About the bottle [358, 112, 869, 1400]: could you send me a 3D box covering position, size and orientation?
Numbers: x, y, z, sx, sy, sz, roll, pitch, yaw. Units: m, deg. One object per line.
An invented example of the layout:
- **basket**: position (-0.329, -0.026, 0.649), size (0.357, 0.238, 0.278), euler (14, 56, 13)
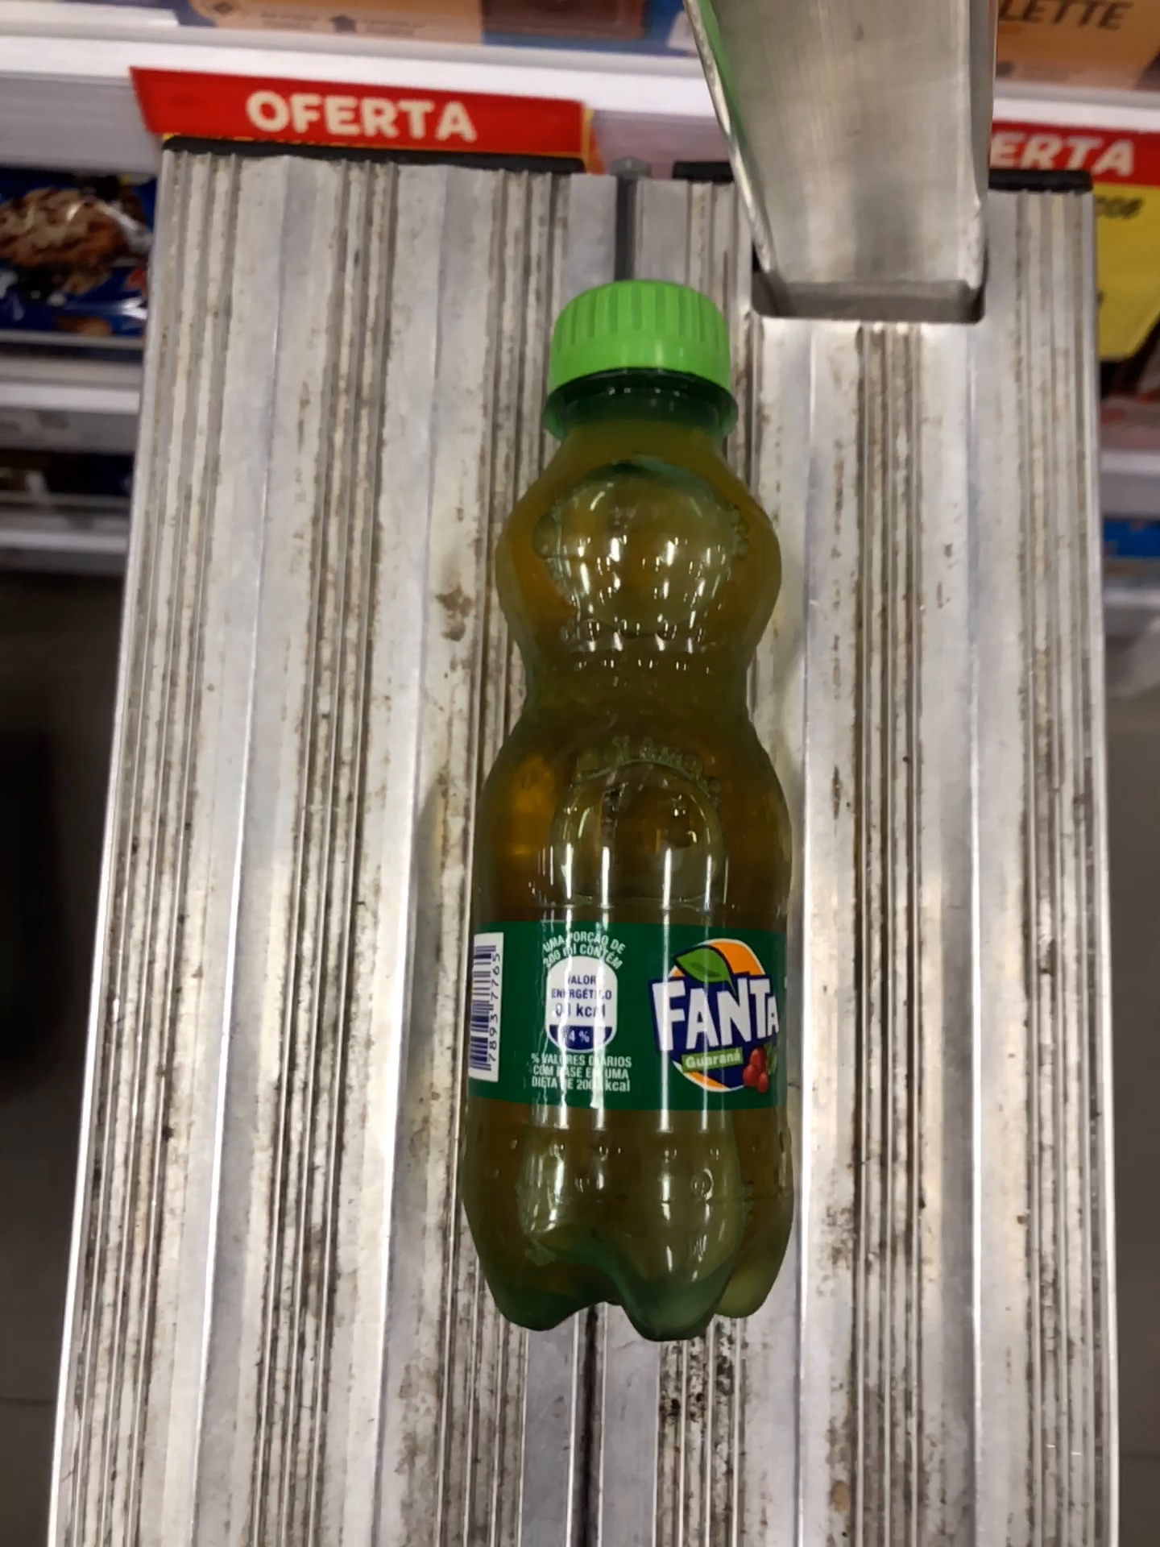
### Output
- **bottle**: position (0.008, -0.004, 0.203), size (0.050, 0.050, 0.170), euler (-7, 76, 44)
